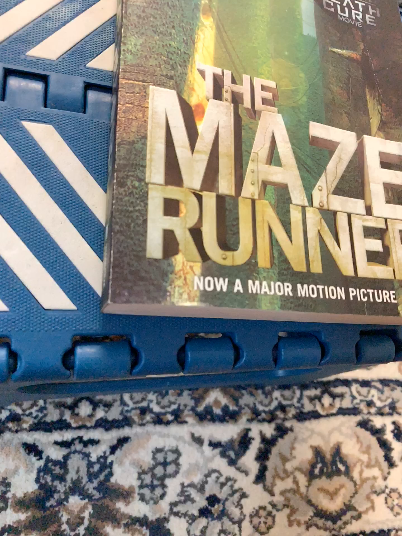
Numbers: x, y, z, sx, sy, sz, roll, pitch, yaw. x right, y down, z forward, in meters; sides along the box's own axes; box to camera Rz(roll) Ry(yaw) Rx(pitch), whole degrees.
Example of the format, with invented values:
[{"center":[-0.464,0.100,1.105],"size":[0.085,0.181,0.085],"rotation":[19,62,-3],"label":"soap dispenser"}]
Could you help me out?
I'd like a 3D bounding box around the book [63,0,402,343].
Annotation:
[{"center":[0.032,-0.088,0.176],"size":[0.150,0.030,0.231],"rotation":[6,73,-19],"label":"book"}]
